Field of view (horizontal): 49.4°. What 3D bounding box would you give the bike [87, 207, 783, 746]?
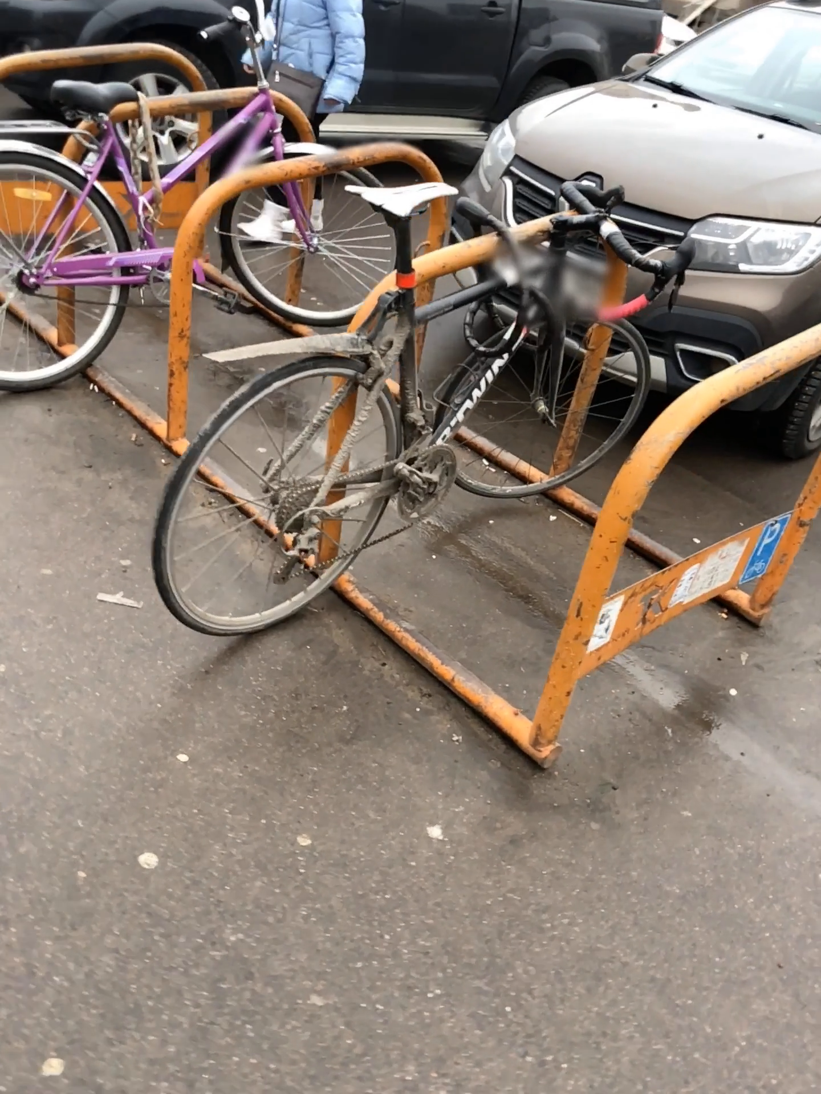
[{"bbox_3d":[0.107,-0.282,2.060,1.520,0.761,0.491,-20,44,-38],"label":"bike"}]
